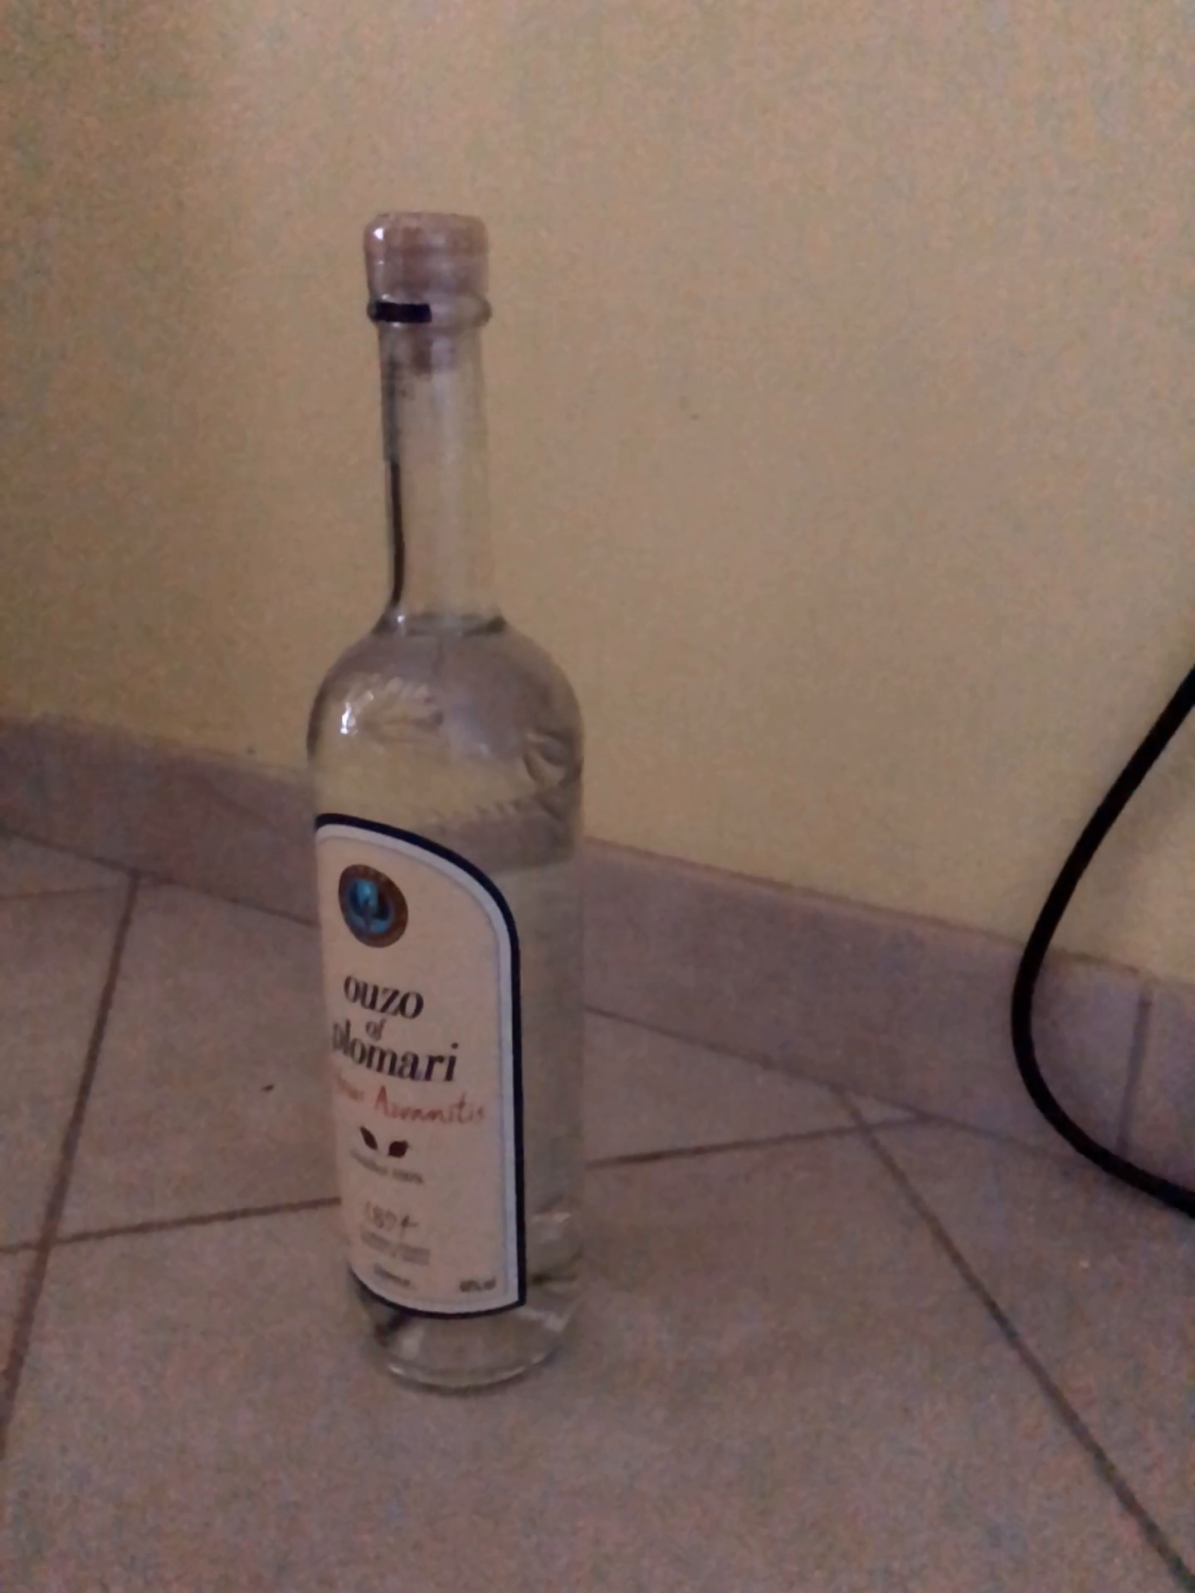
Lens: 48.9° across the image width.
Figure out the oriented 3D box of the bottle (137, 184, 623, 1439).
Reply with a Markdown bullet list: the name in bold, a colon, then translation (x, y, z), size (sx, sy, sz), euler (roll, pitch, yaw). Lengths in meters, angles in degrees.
- **bottle**: translation (-0.047, 0.011, 0.362), size (0.080, 0.318, 0.080), euler (0, 20, 0)
